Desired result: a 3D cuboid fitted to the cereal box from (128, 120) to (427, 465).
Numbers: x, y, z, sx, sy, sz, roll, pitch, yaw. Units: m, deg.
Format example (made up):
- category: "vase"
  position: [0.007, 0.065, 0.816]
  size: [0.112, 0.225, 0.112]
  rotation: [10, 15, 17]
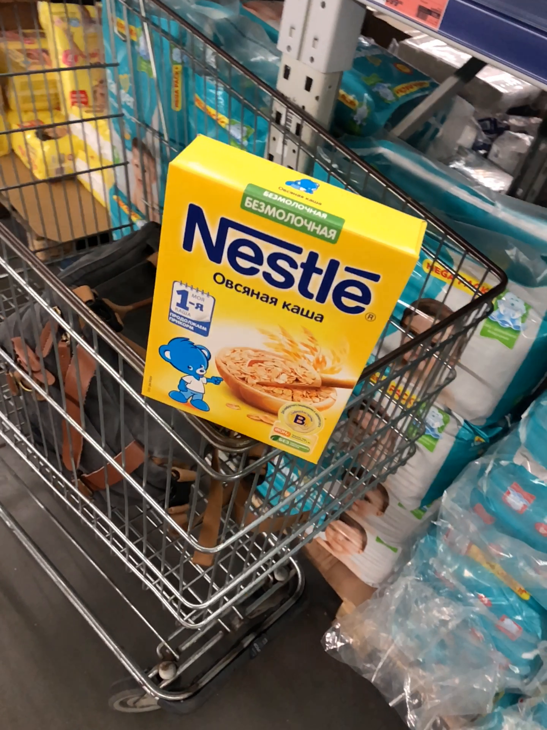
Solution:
- category: "cereal box"
  position: [-0.011, -0.033, 0.399]
  size: [0.150, 0.199, 0.040]
  rotation: [21, 44, 2]
